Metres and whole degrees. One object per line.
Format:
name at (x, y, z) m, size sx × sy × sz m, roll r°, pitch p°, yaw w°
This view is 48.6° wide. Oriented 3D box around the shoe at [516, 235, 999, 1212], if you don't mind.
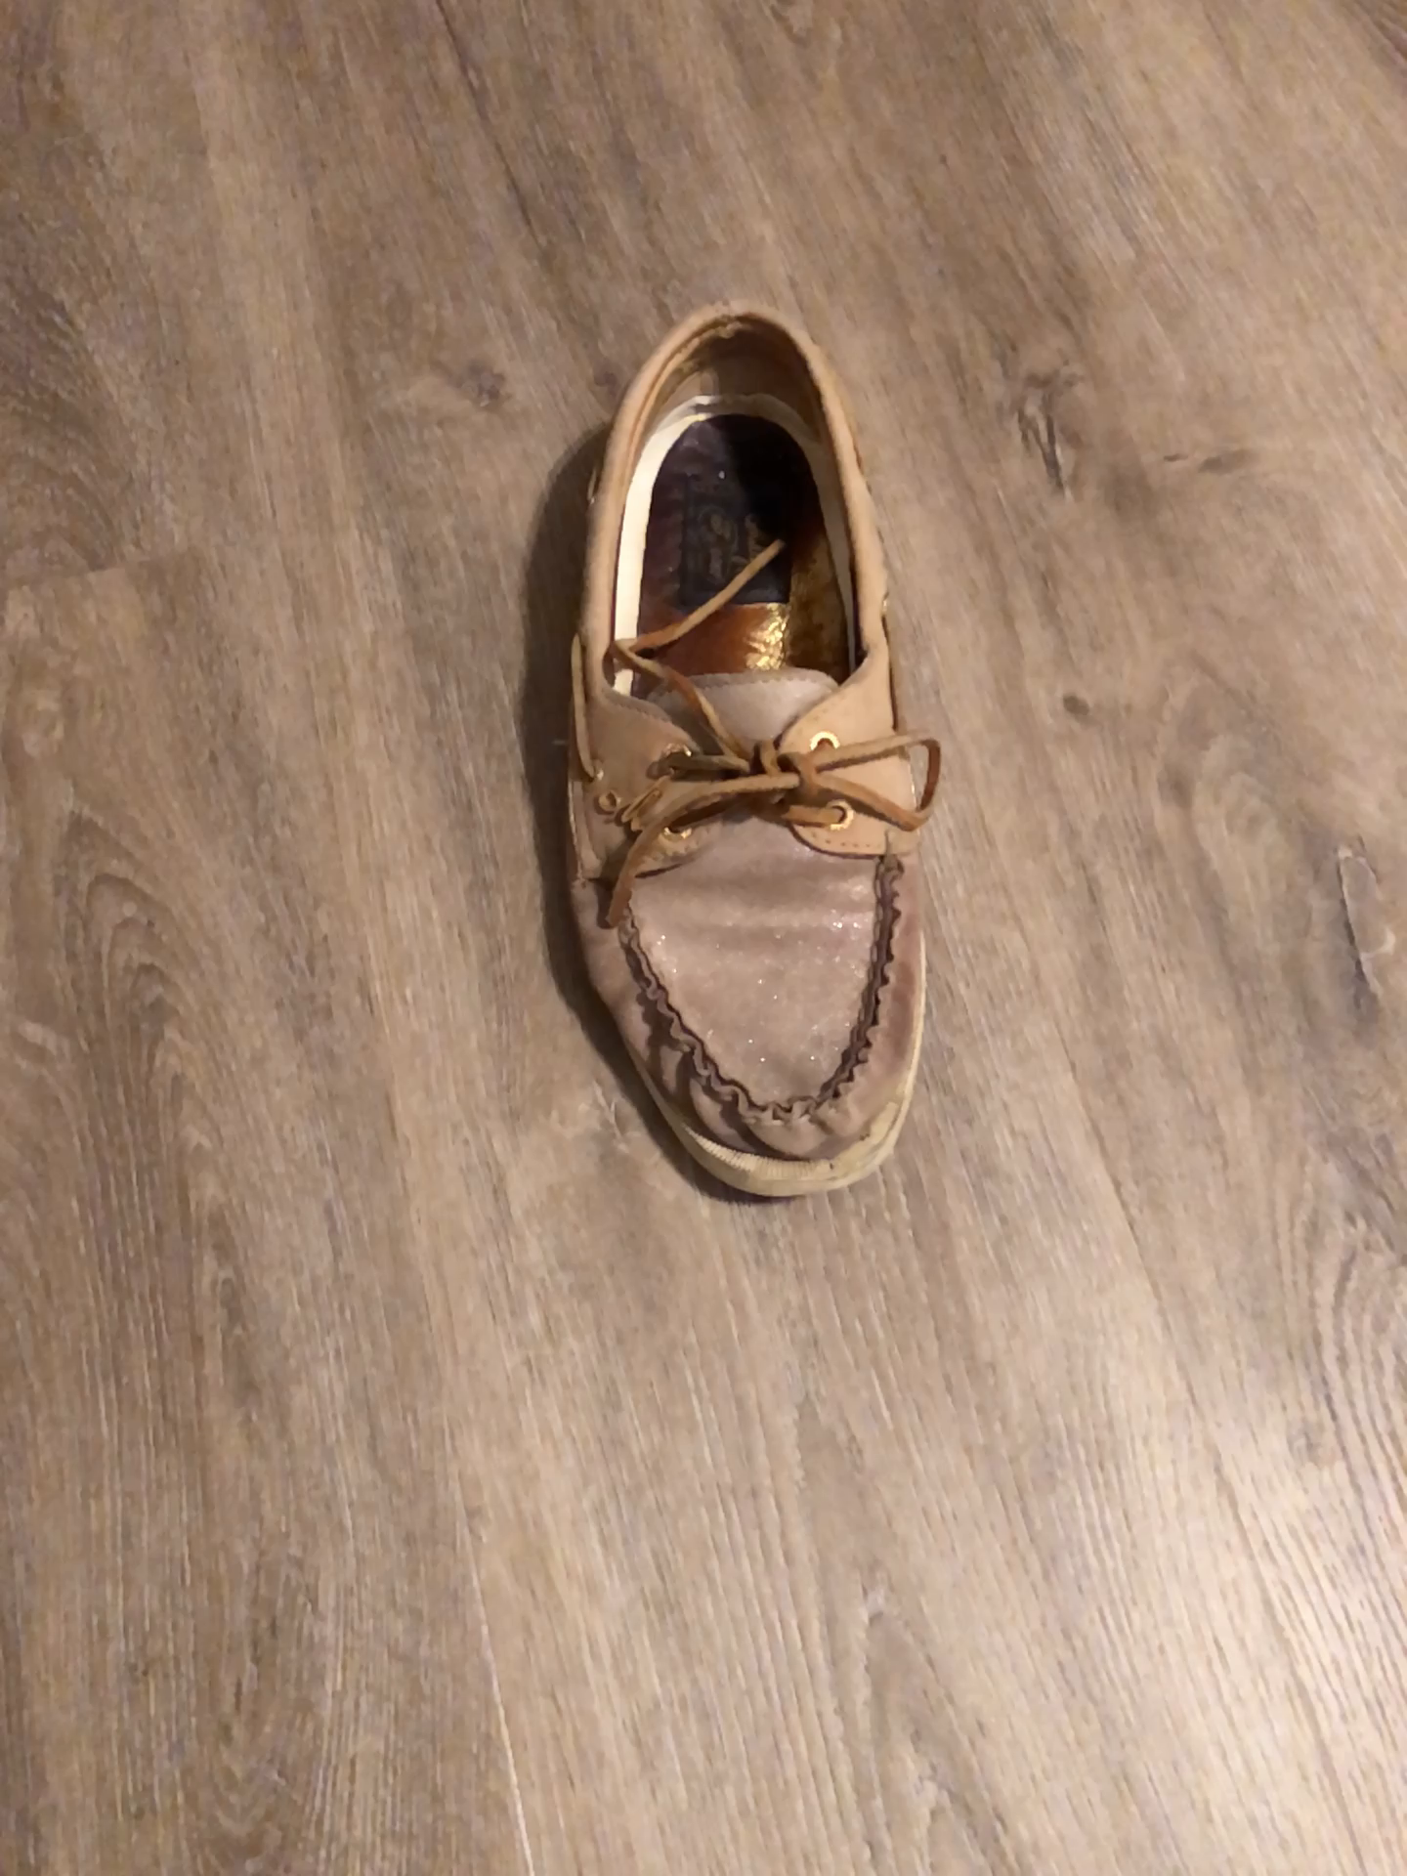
shoe at (0.006, -0.062, 0.413) m, size 0.100 × 0.070 × 0.250 m, roll -3°, pitch 68°, yaw -2°
